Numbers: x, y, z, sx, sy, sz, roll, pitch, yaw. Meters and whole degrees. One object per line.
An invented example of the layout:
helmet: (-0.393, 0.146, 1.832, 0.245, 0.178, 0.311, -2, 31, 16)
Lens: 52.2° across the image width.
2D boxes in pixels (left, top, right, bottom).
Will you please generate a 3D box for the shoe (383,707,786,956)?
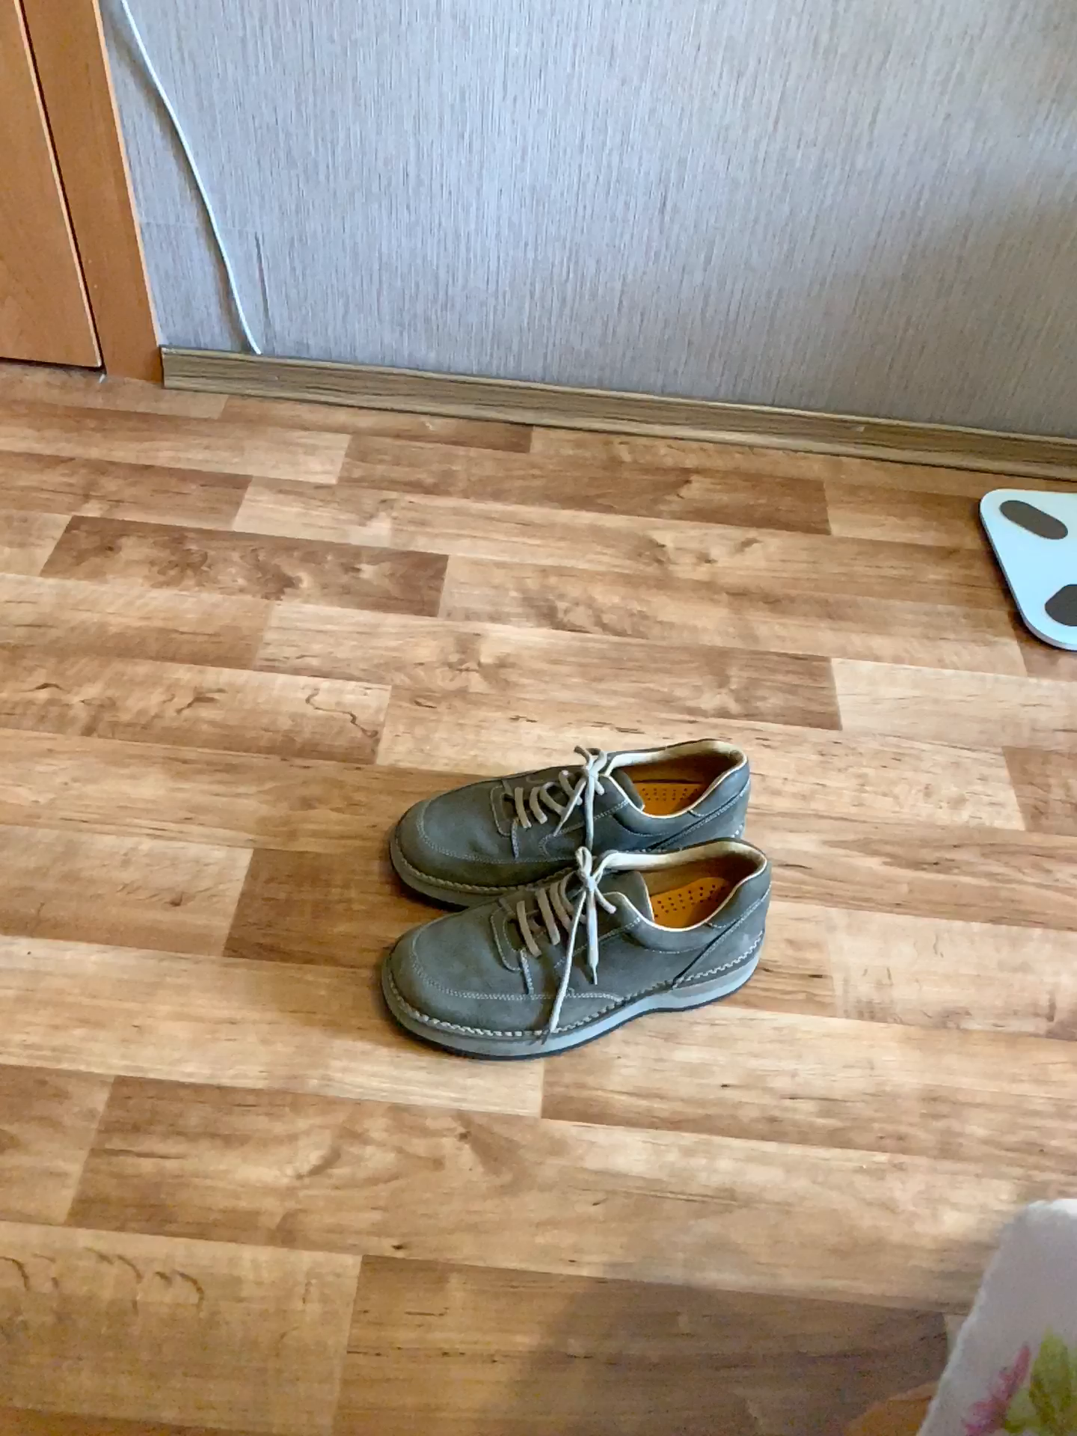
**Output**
shoe: (0.029, 0.089, 0.883, 0.290, 0.120, 0.120, -5, 48, -11)

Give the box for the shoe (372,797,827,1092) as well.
shoe: (0.036, 0.159, 0.790, 0.290, 0.110, 0.120, -8, 48, -13)
